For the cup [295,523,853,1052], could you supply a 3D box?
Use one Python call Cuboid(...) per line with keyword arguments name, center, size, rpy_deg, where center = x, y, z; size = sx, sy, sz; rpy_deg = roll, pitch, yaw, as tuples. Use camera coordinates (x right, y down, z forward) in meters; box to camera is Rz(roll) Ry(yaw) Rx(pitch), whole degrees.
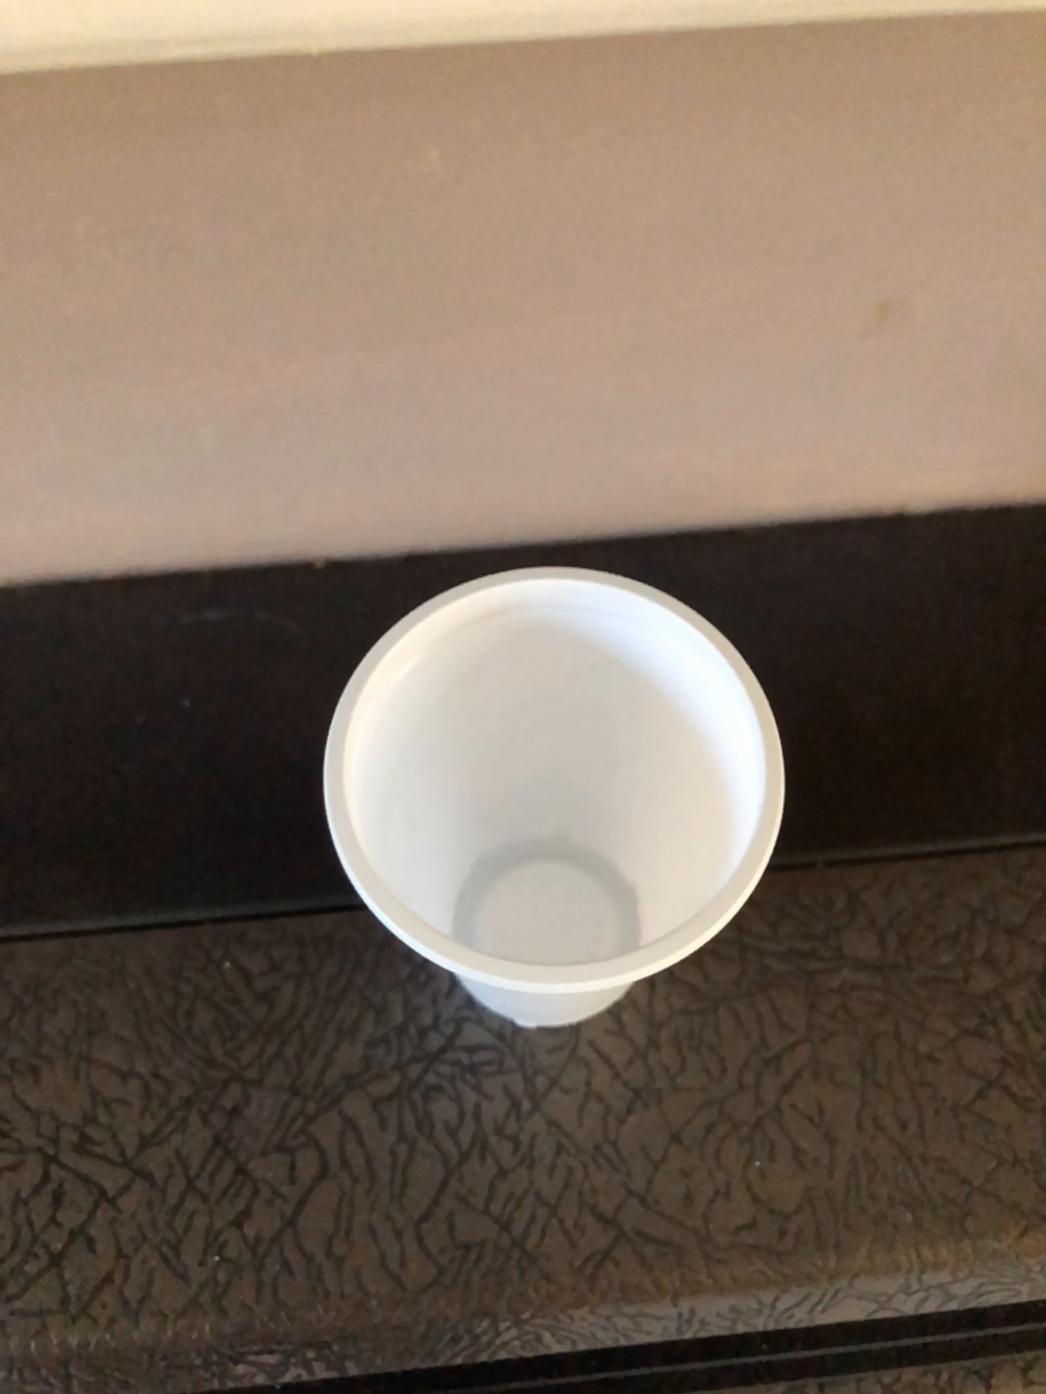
Cuboid(name="cup", center=(0.007, 0.020, 0.217), size=(0.079, 0.073, 0.073), rpy_deg=(0, 63, 1))
